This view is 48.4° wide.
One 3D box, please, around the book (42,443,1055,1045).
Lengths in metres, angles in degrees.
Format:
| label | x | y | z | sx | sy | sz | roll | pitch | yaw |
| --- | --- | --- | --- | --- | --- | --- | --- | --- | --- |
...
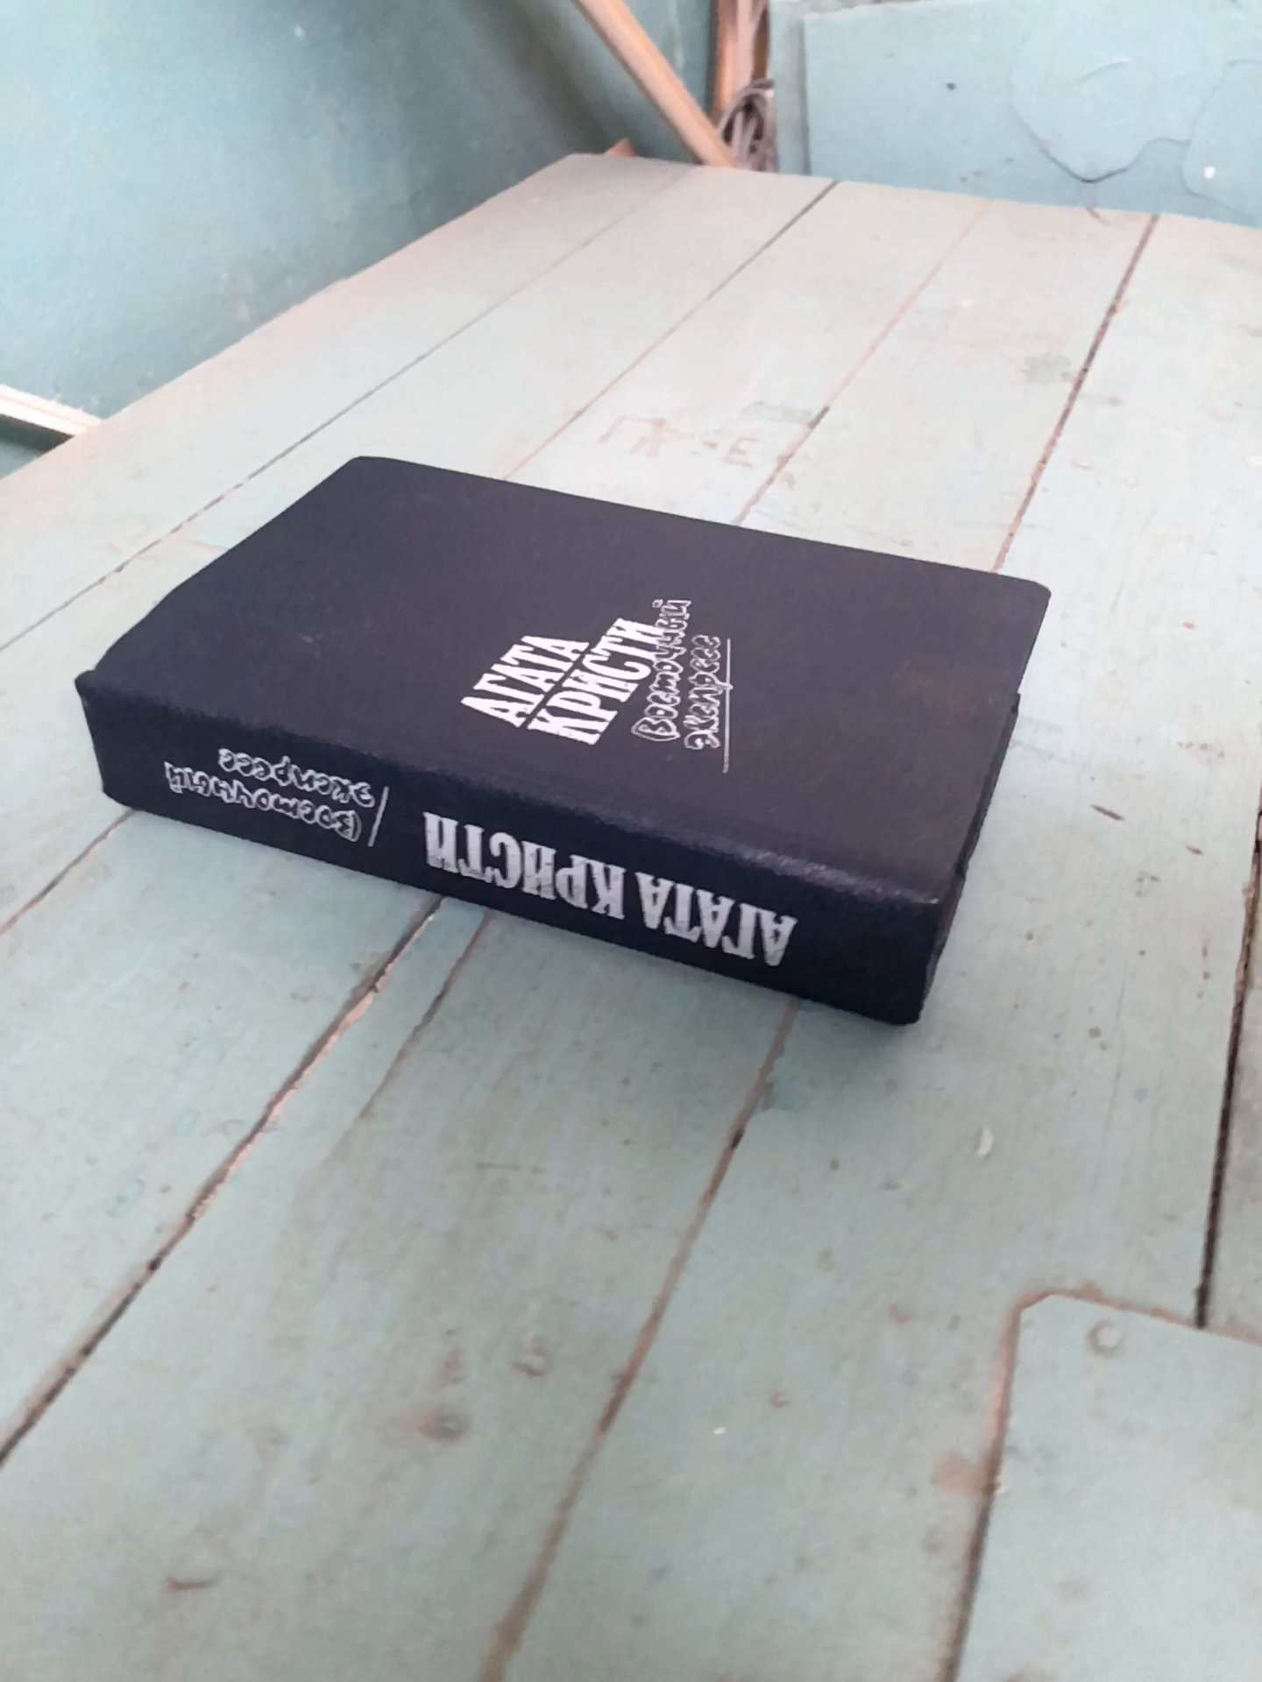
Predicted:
| label | x | y | z | sx | sy | sz | roll | pitch | yaw |
| --- | --- | --- | --- | --- | --- | --- | --- | --- | --- |
| book | -0.013 | -0.039 | 0.356 | 0.210 | 0.040 | 0.138 | 14 | 41 | 16 |
